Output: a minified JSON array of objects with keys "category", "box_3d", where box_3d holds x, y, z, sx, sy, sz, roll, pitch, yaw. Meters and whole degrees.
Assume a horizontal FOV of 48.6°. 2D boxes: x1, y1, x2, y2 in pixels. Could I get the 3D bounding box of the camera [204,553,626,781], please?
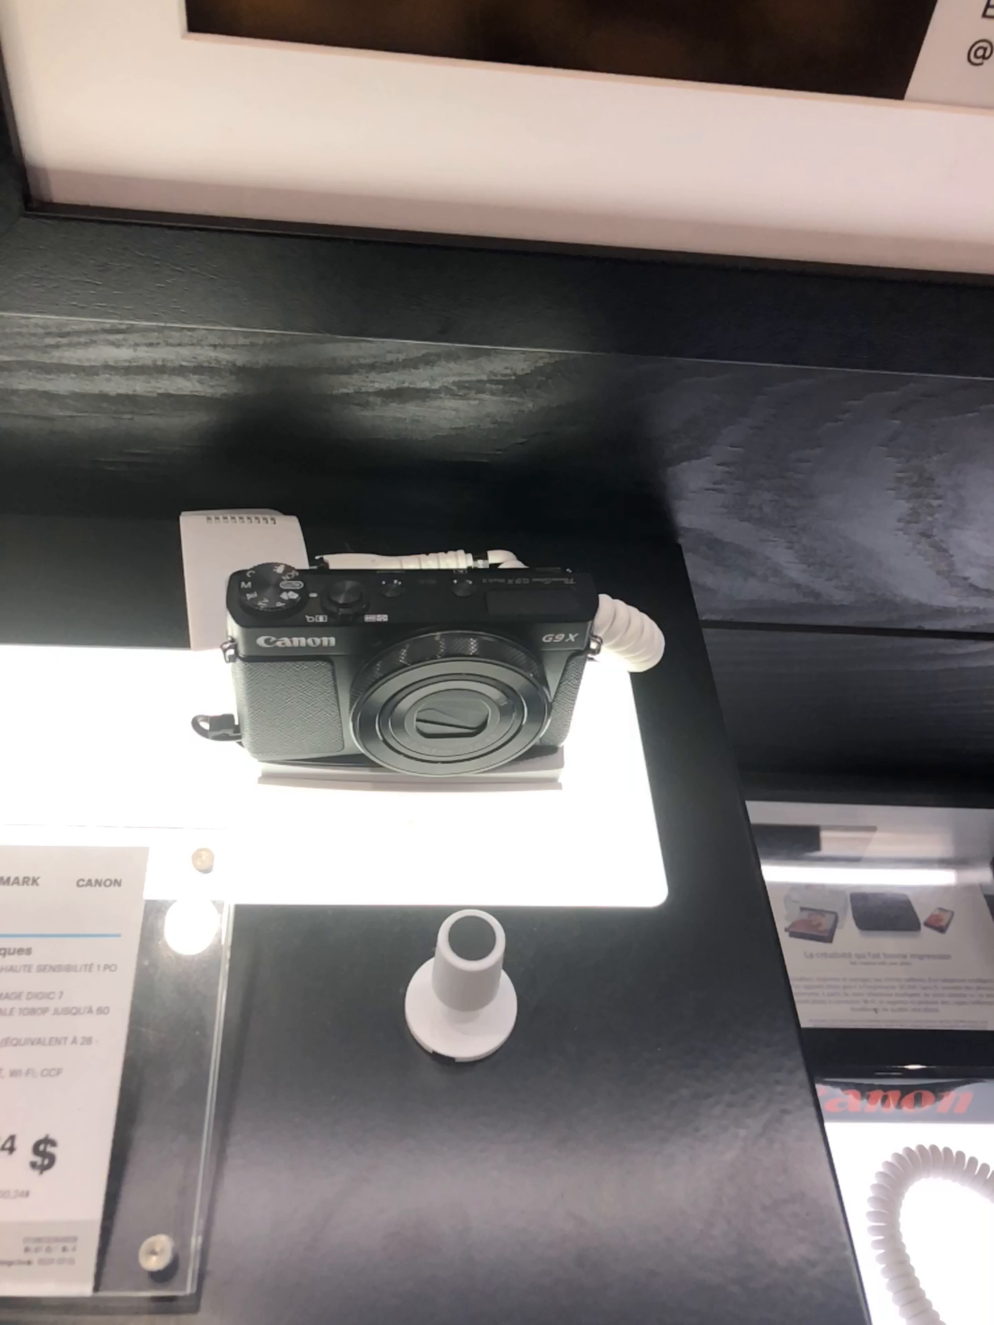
[{"category":"camera","box_3d":[-0.023,0.002,0.289,0.100,0.058,0.025,-1,46,-10]}]
